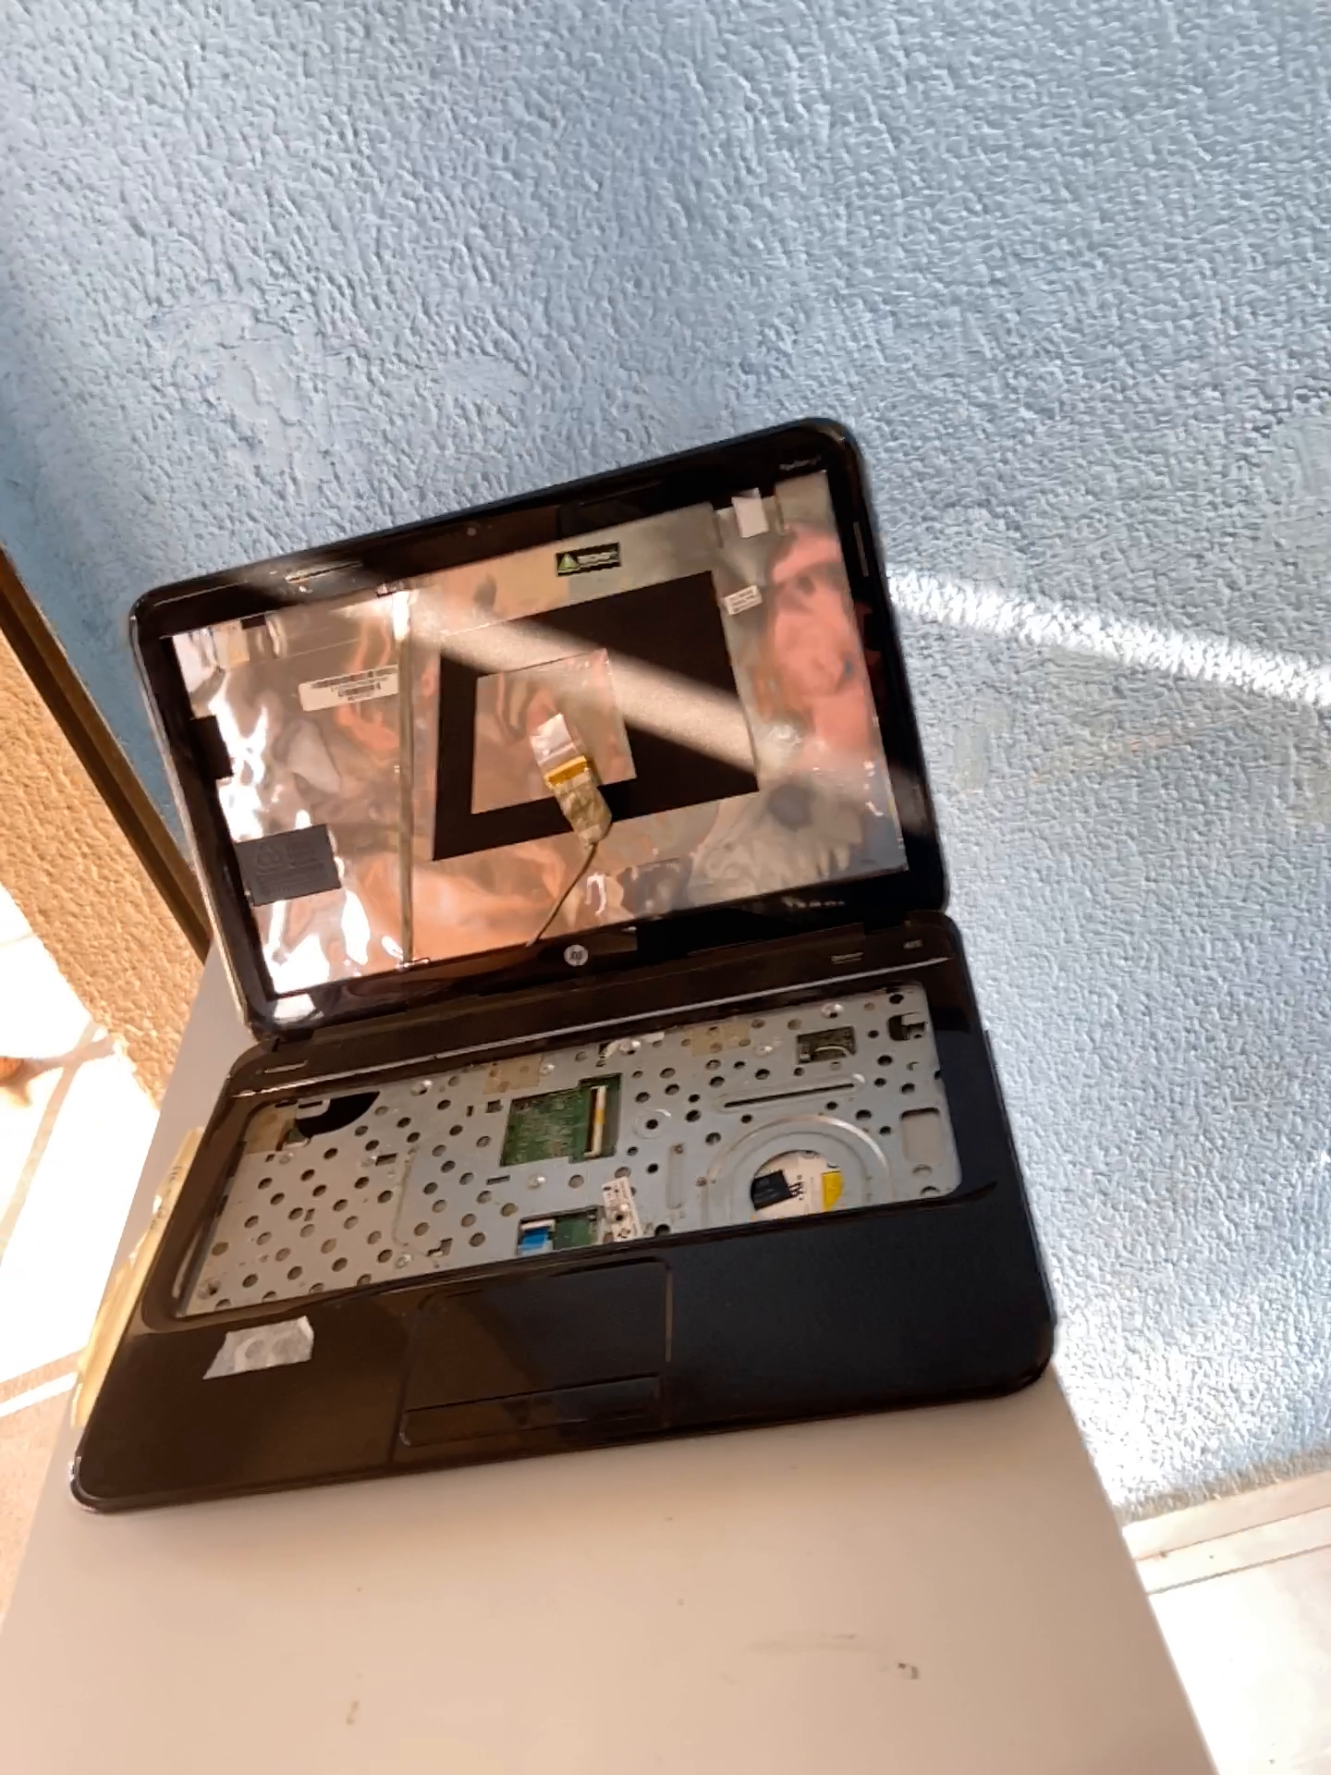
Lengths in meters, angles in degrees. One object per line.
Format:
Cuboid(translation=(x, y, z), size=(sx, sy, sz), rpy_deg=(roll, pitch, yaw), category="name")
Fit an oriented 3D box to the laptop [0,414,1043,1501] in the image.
Cuboid(translation=(-0.068, 0.006, 0.522), size=(0.335, 0.186, 0.326), rpy_deg=(-12, 34, 11), category="laptop")
